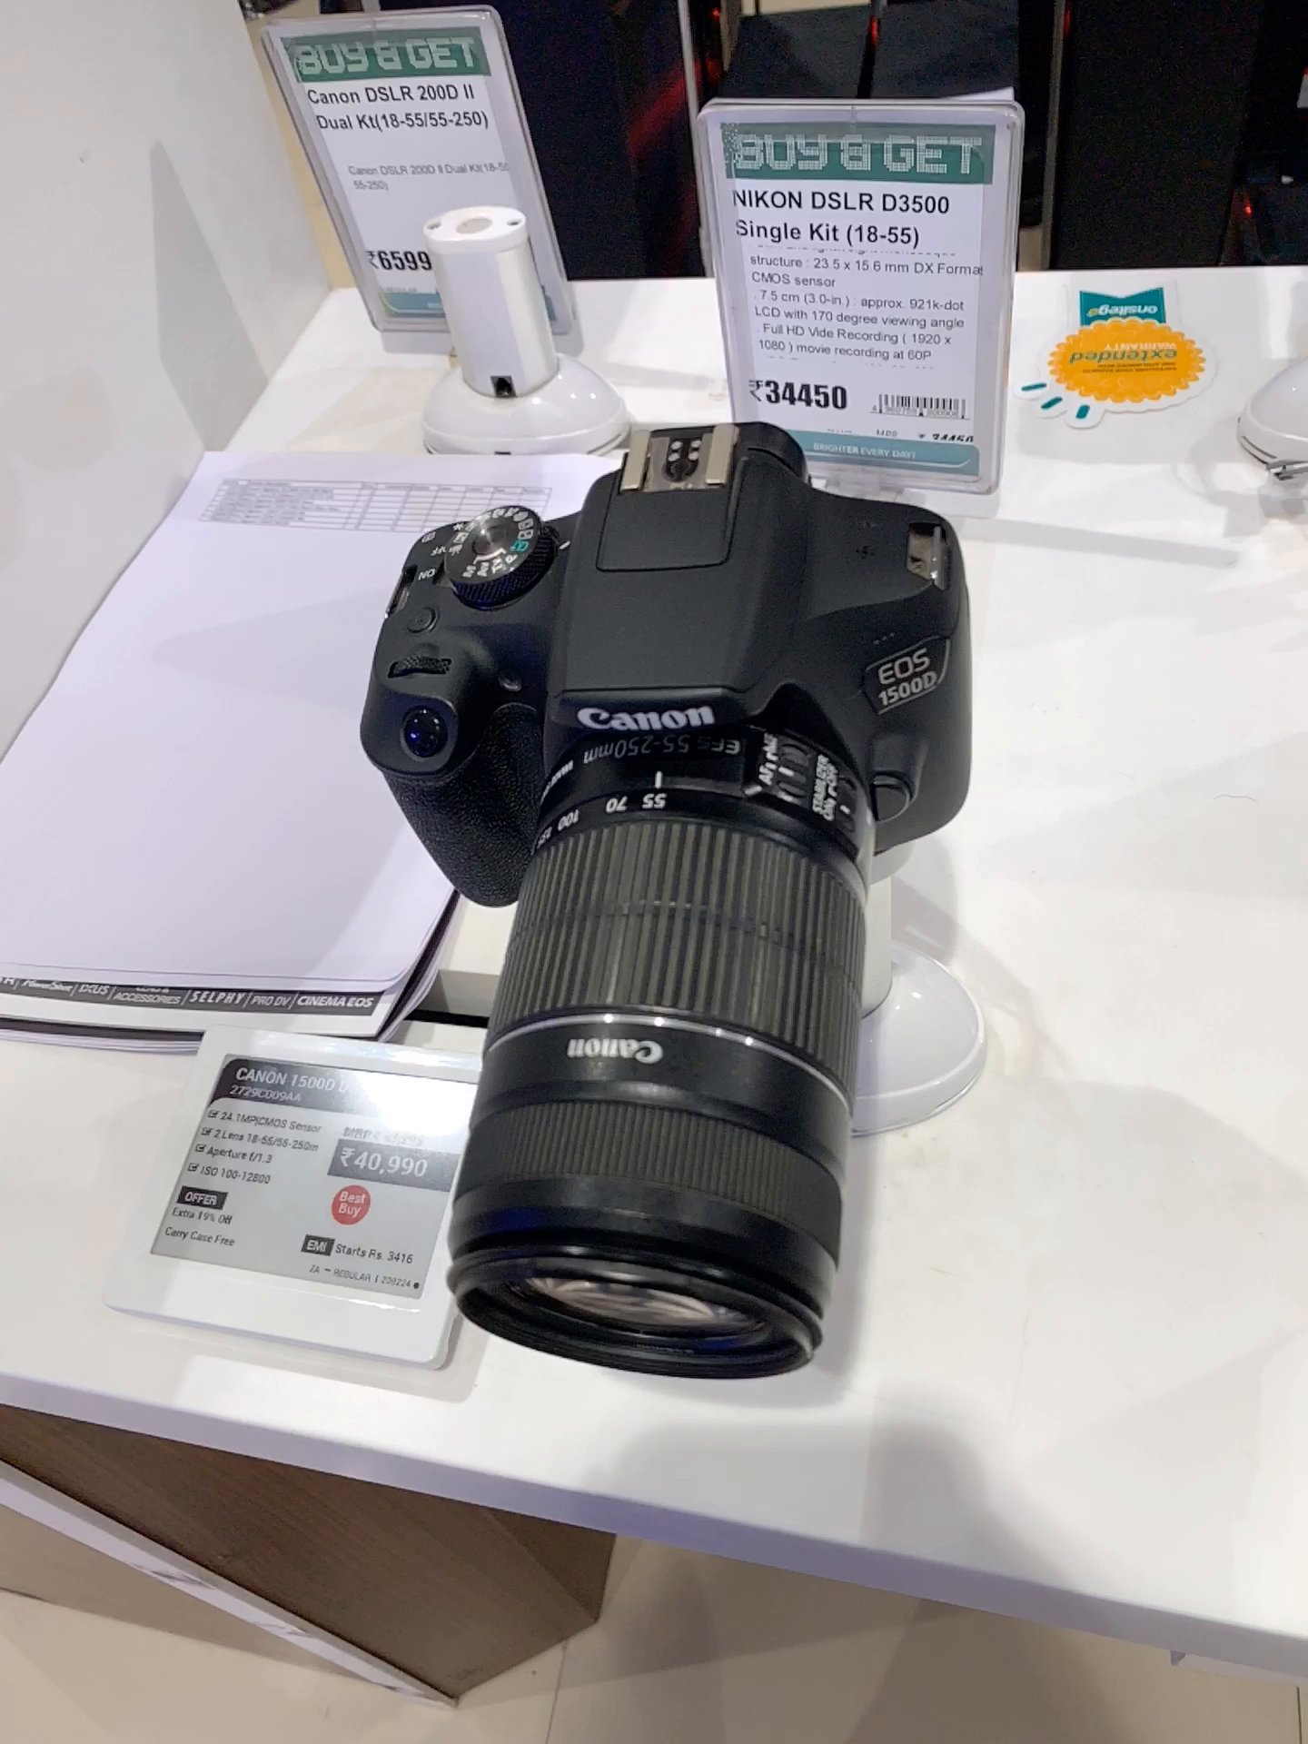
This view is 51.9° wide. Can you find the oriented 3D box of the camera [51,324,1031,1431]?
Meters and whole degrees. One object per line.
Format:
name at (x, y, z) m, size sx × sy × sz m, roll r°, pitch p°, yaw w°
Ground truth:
camera at (0.002, -0.010, 0.263) m, size 0.130 × 0.090 × 0.190 m, roll 2°, pitch 52°, yaw 12°
